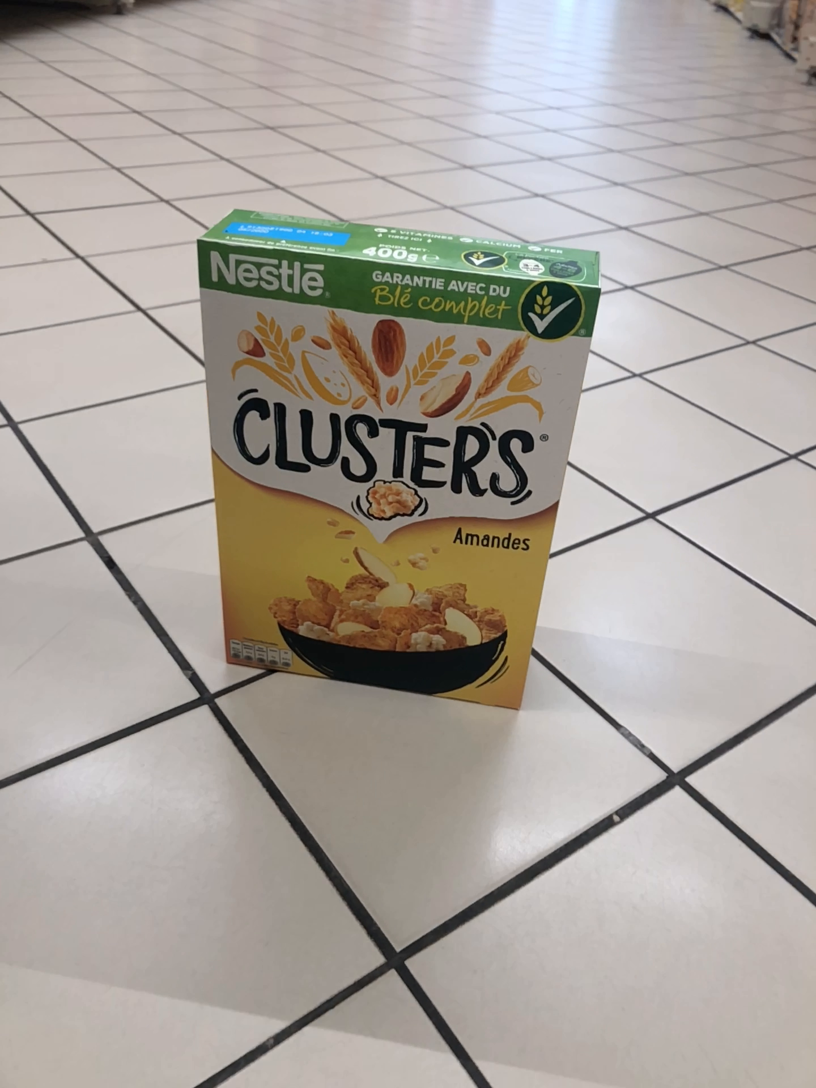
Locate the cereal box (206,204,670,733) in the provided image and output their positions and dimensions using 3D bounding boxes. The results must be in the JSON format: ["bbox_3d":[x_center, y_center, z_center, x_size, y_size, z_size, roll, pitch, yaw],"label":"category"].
[{"bbox_3d":[0.006,-0.030,0.501,0.210,0.268,0.060,10,35,6],"label":"cereal box"}]
